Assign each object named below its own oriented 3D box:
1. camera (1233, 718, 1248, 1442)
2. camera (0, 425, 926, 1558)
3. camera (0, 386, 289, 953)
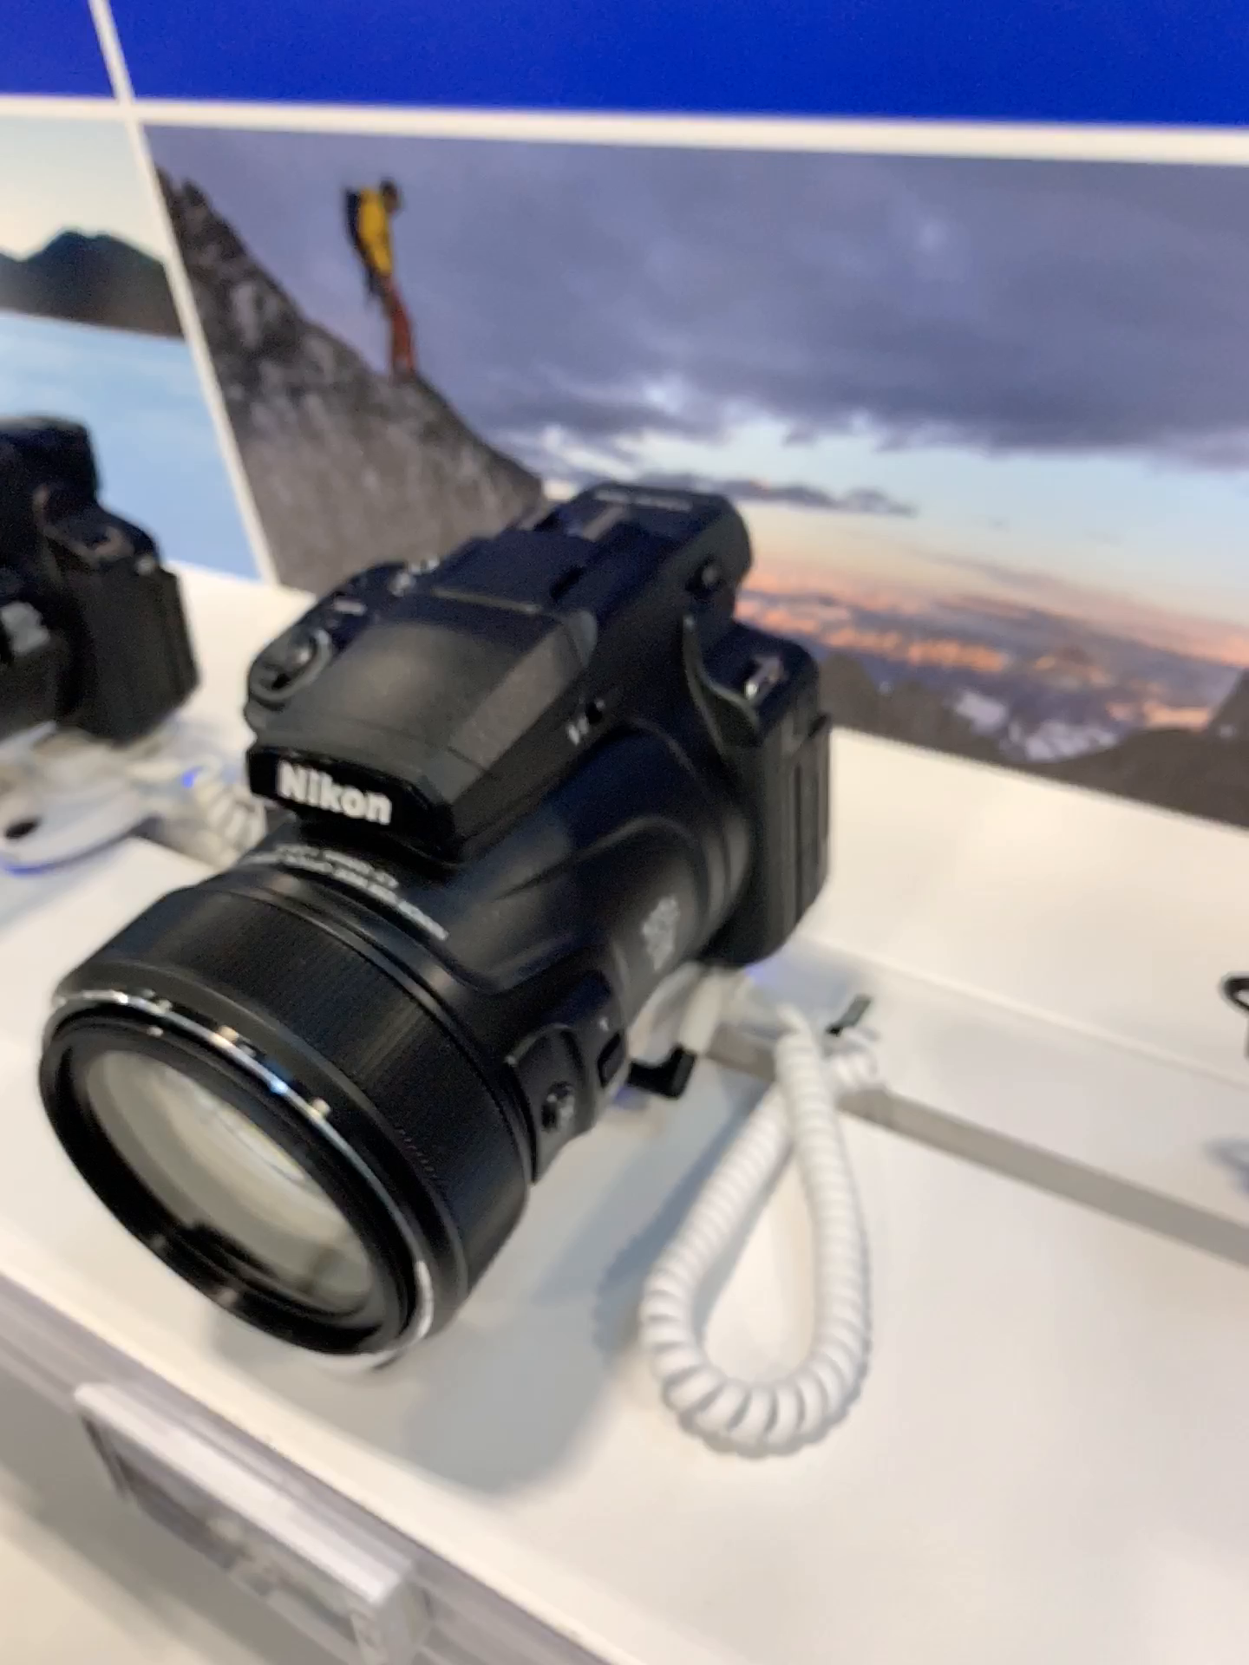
[{"bbox_3d":[0.193,0.042,0.252,0.120,0.089,0.060,13,38,23],"label":"camera"},{"bbox_3d":[-0.048,0.002,0.305,0.160,0.109,0.221,16,39,26],"label":"camera"},{"bbox_3d":[-0.230,-0.066,0.428,0.160,0.099,0.150,17,39,27],"label":"camera"}]
